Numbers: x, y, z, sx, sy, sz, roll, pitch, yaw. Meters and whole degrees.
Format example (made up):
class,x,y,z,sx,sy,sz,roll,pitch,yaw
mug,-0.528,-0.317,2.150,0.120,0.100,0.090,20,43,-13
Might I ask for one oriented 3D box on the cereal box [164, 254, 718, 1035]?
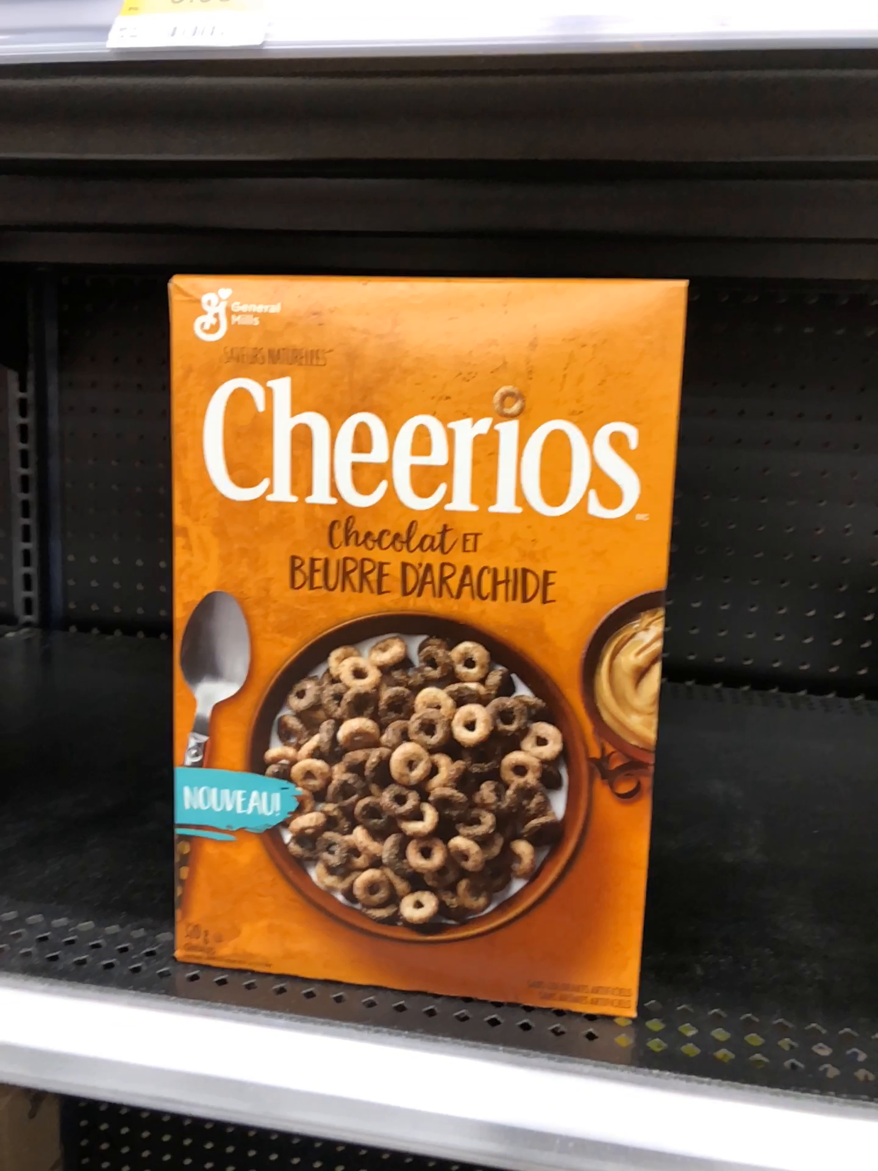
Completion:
class,x,y,z,sx,sy,sz,roll,pitch,yaw
cereal box,-0.005,0.021,0.399,0.200,0.289,0.060,4,10,8
